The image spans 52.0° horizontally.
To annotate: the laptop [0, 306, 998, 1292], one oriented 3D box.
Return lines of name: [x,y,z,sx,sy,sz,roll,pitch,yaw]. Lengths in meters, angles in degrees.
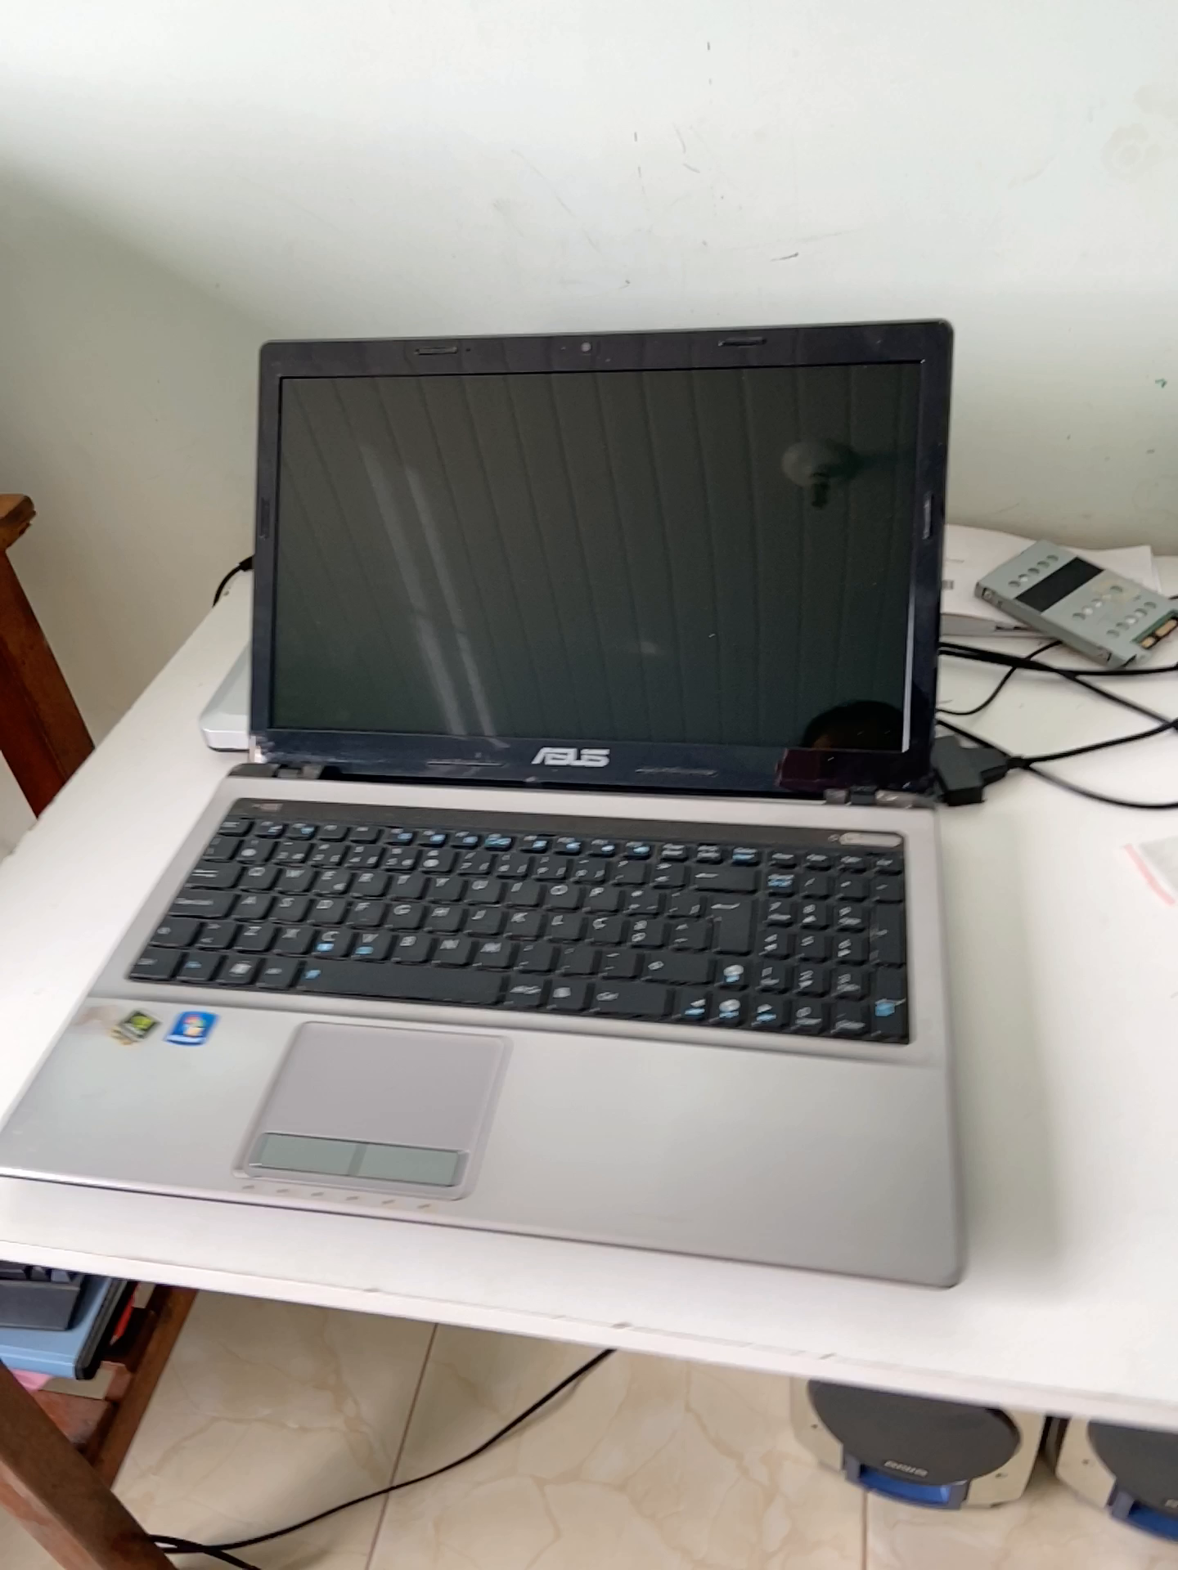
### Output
laptop: [-0.035,-0.043,0.547,0.376,0.179,0.417,2,41,12]
